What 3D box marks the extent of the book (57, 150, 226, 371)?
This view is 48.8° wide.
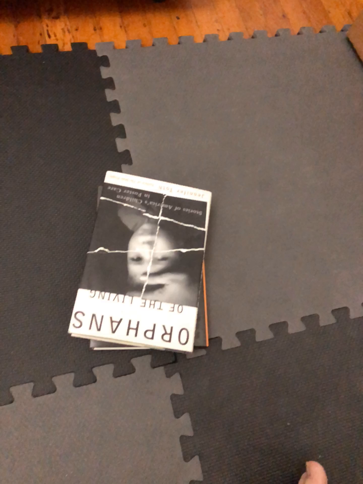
[{"bbox_3d":[-0.042,0.016,0.545,0.180,0.030,0.281,10,67,-4],"label":"book"}]

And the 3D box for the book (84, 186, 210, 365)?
[{"bbox_3d":[-0.050,0.039,0.567,0.160,0.030,0.251,0,68,-8],"label":"book"}]
